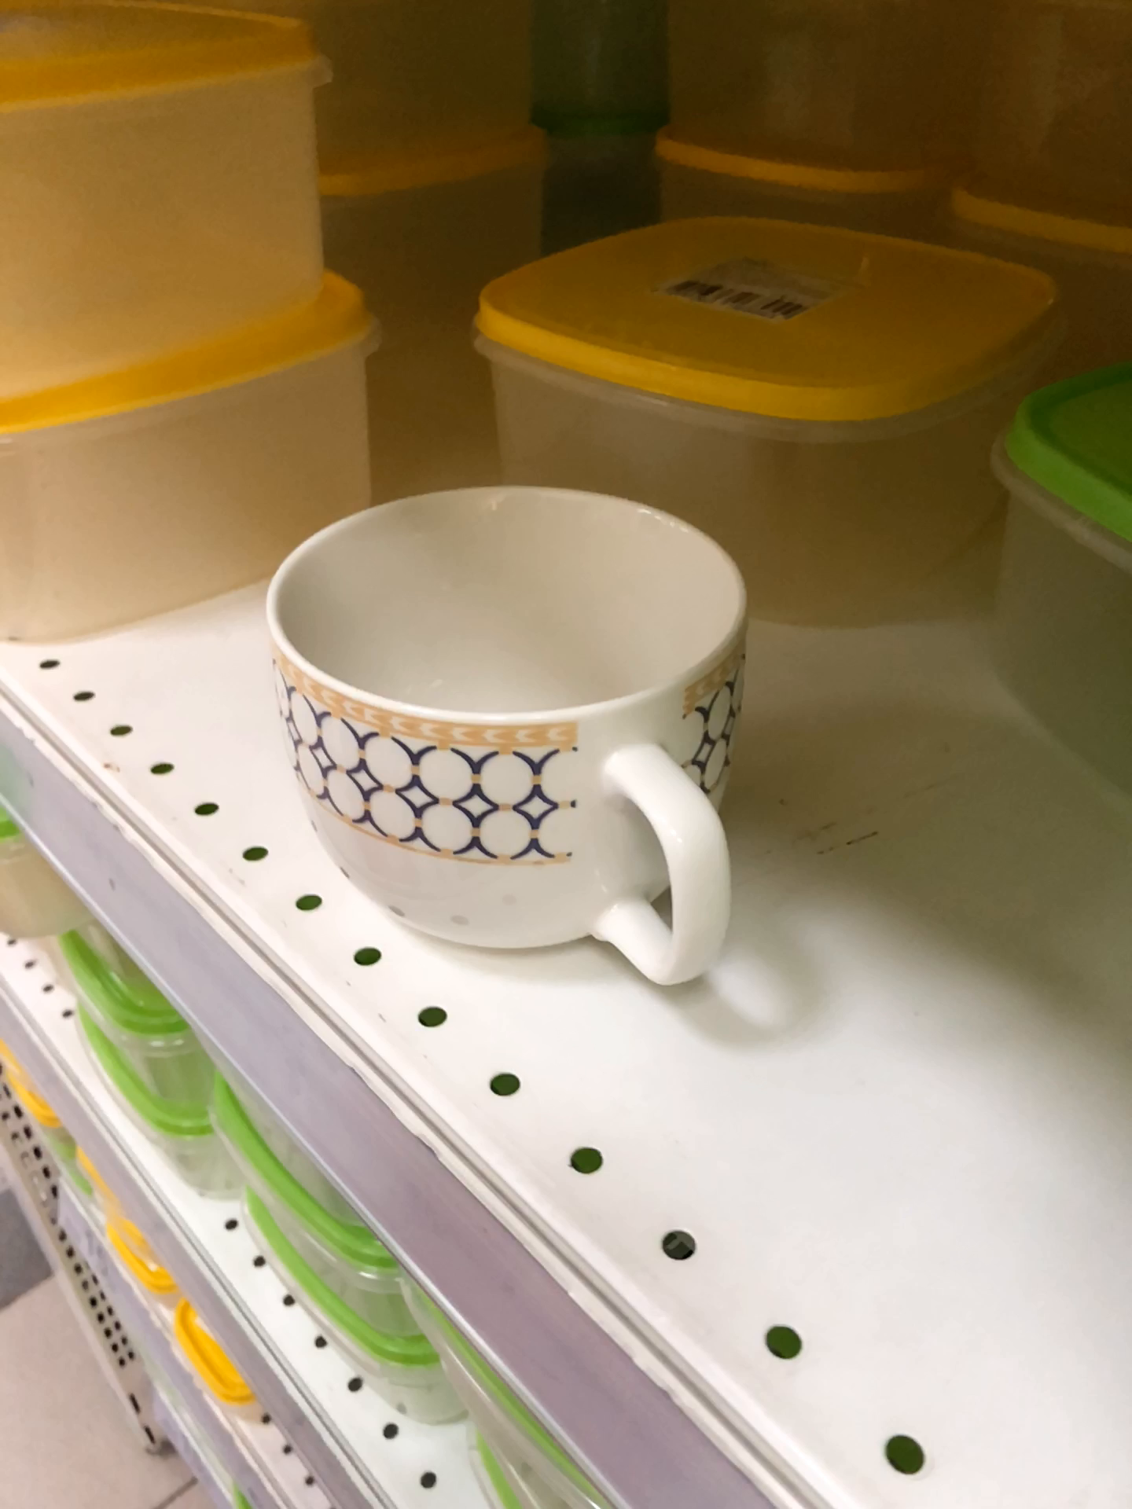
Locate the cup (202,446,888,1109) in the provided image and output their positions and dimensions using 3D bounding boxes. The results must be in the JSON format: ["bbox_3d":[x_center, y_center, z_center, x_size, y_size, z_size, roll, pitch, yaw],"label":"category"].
[{"bbox_3d":[-0.013,-0.007,0.286,0.105,0.062,0.135,-15,38,-16],"label":"cup"}]
